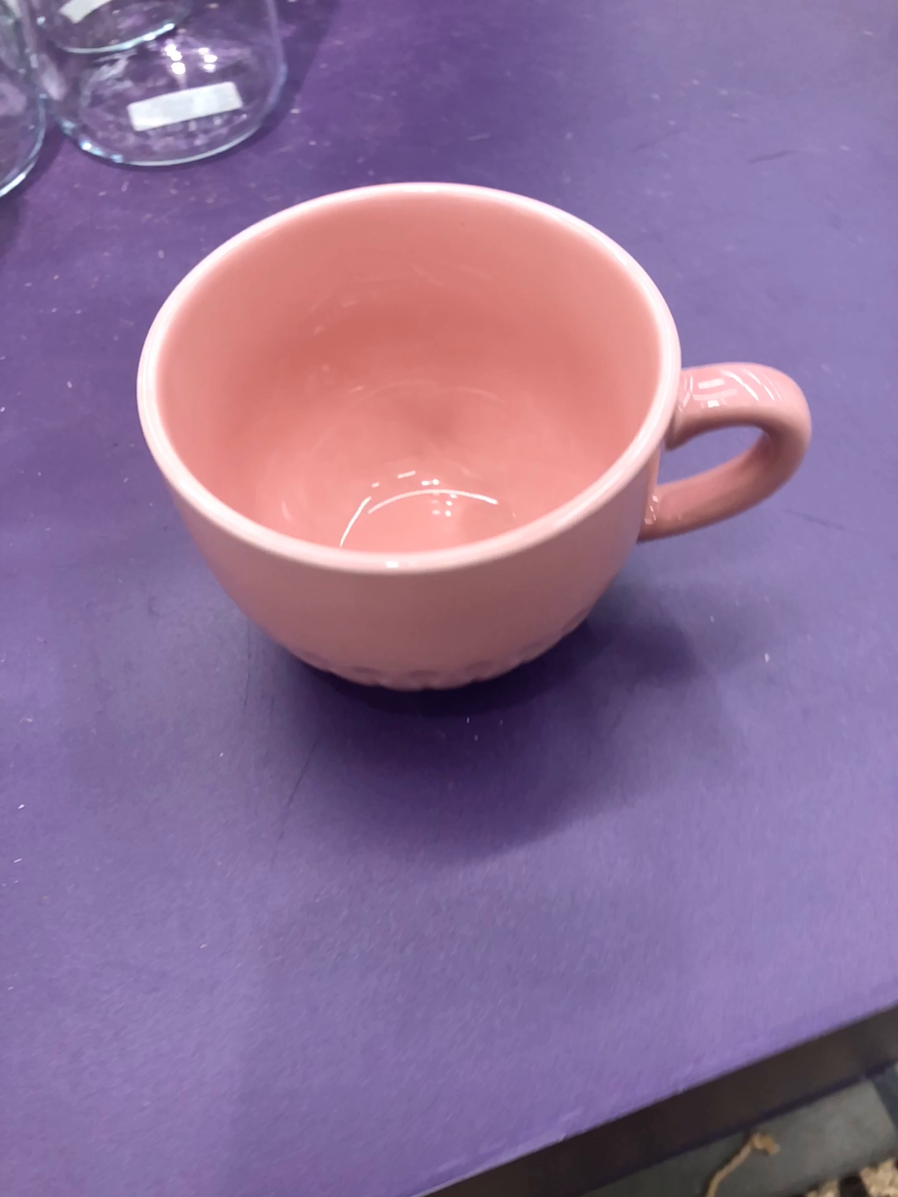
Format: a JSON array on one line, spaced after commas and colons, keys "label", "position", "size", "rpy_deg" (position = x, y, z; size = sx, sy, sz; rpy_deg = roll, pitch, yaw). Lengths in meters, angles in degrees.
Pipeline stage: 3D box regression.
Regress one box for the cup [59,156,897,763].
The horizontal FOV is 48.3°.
[{"label": "cup", "position": [0.008, -0.031, 0.214], "size": [0.140, 0.060, 0.111], "rpy_deg": [-2, 57, 2]}]
